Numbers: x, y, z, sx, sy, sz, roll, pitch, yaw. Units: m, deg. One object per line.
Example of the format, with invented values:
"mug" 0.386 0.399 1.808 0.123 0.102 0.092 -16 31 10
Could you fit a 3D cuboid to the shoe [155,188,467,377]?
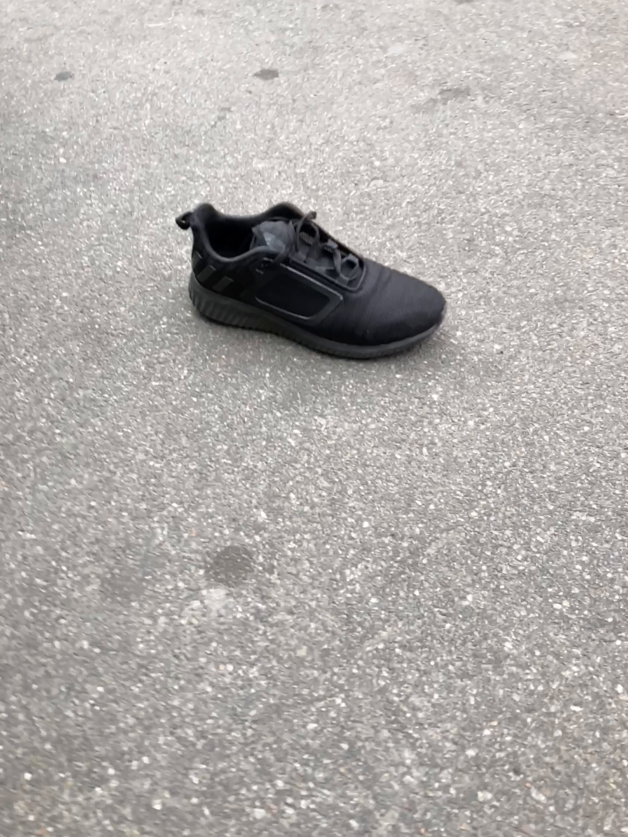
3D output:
"shoe" 0.000 -0.141 0.692 0.280 0.109 0.101 12 52 15
